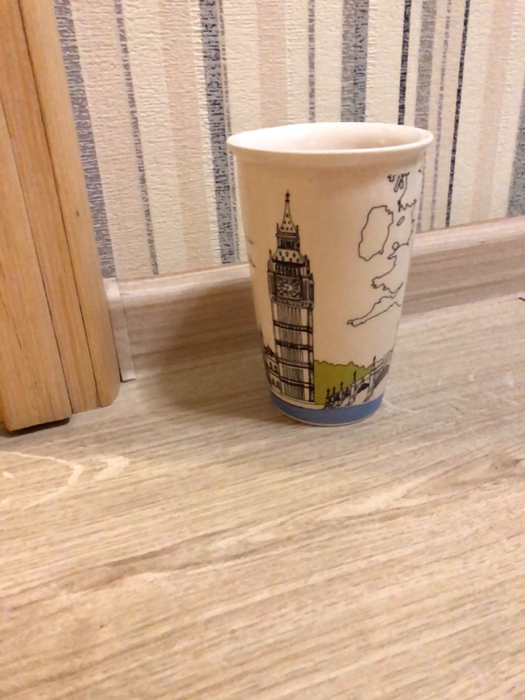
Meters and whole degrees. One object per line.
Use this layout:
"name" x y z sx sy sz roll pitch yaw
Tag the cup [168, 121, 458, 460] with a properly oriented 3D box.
"cup" 0.028 -0.039 0.296 0.095 0.132 0.097 -2 27 1
